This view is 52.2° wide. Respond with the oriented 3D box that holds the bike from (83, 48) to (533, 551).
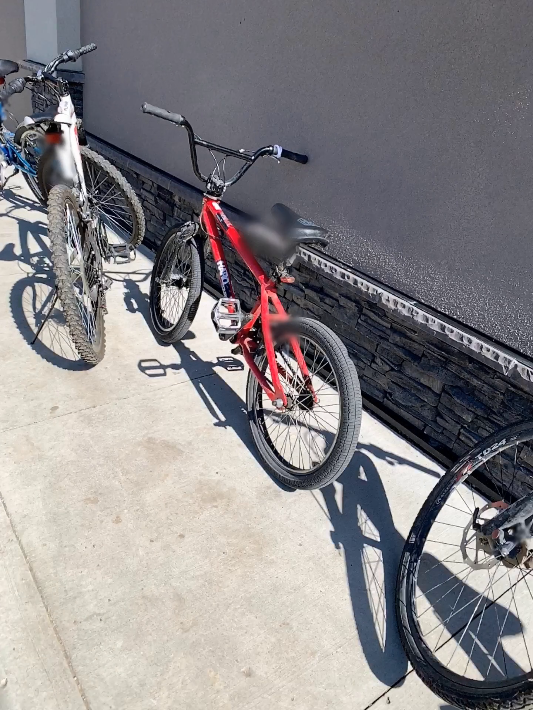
[{"bbox_3d":[-0.030,-0.326,1.801,0.774,0.908,1.318,-9,37,-31],"label":"bike"}]
